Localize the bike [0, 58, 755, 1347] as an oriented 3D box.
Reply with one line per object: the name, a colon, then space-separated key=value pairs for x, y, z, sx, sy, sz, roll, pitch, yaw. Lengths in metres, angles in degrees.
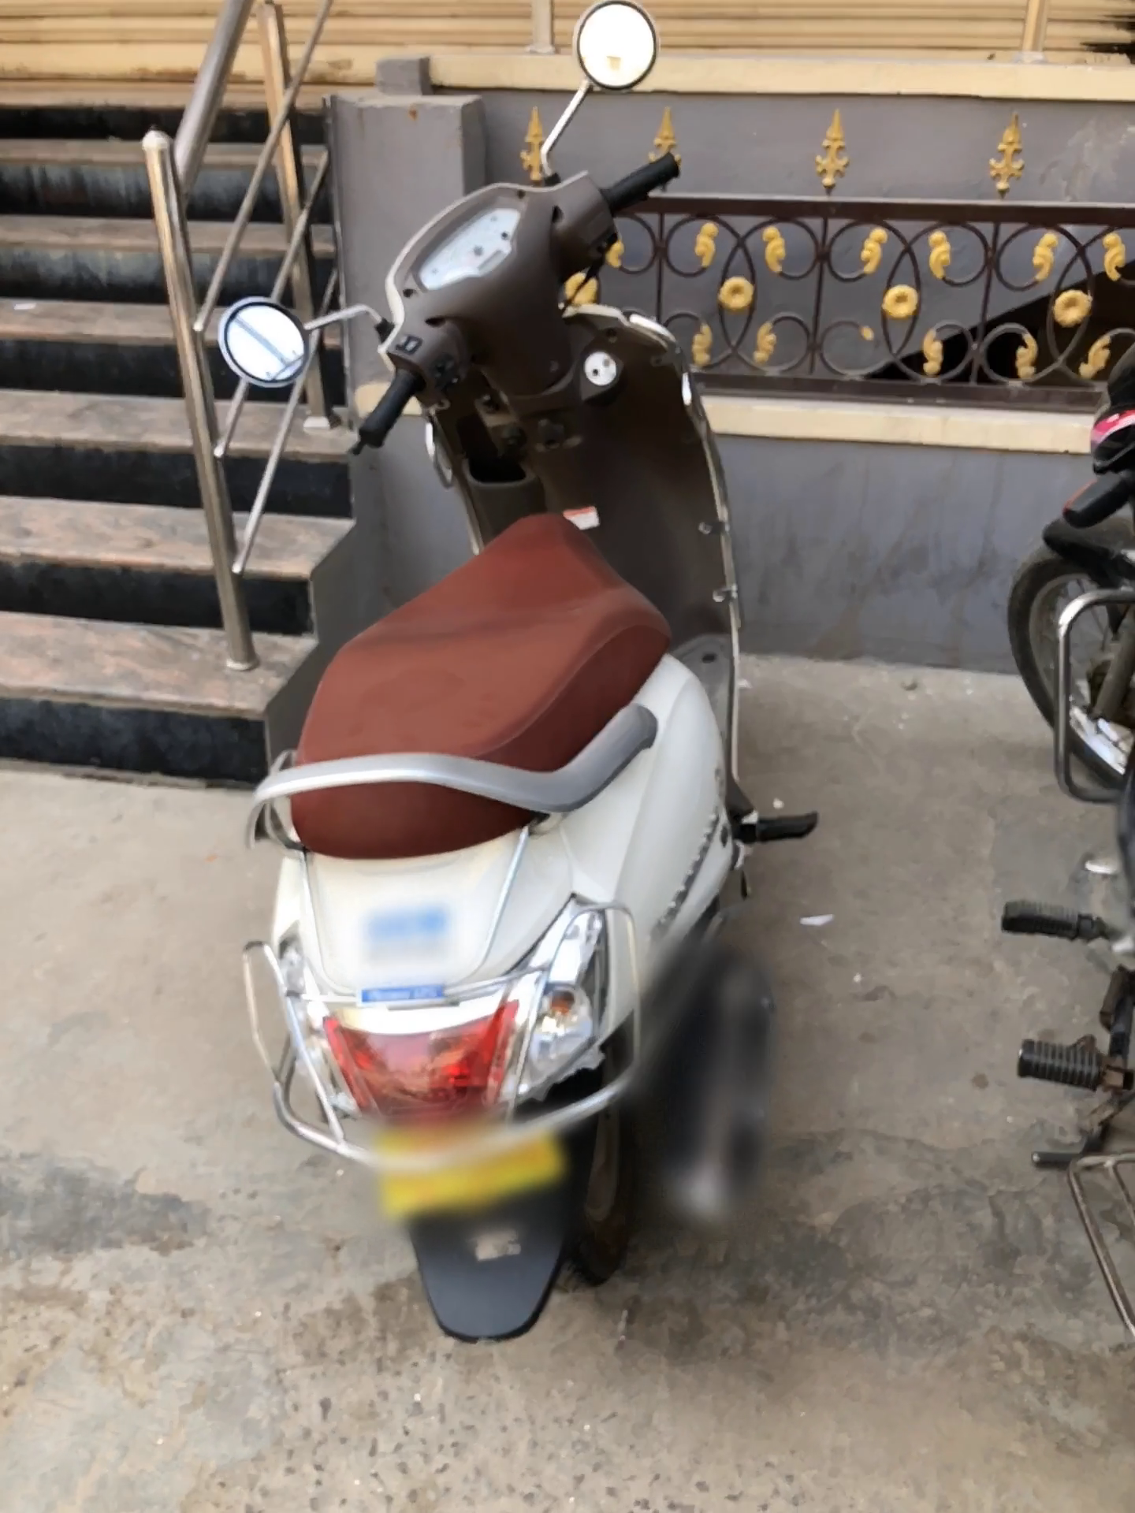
bike: x=-0.128 y=-0.241 z=1.848 sx=0.597 sy=1.194 sz=1.494 roll=1 pitch=34 yaw=2
